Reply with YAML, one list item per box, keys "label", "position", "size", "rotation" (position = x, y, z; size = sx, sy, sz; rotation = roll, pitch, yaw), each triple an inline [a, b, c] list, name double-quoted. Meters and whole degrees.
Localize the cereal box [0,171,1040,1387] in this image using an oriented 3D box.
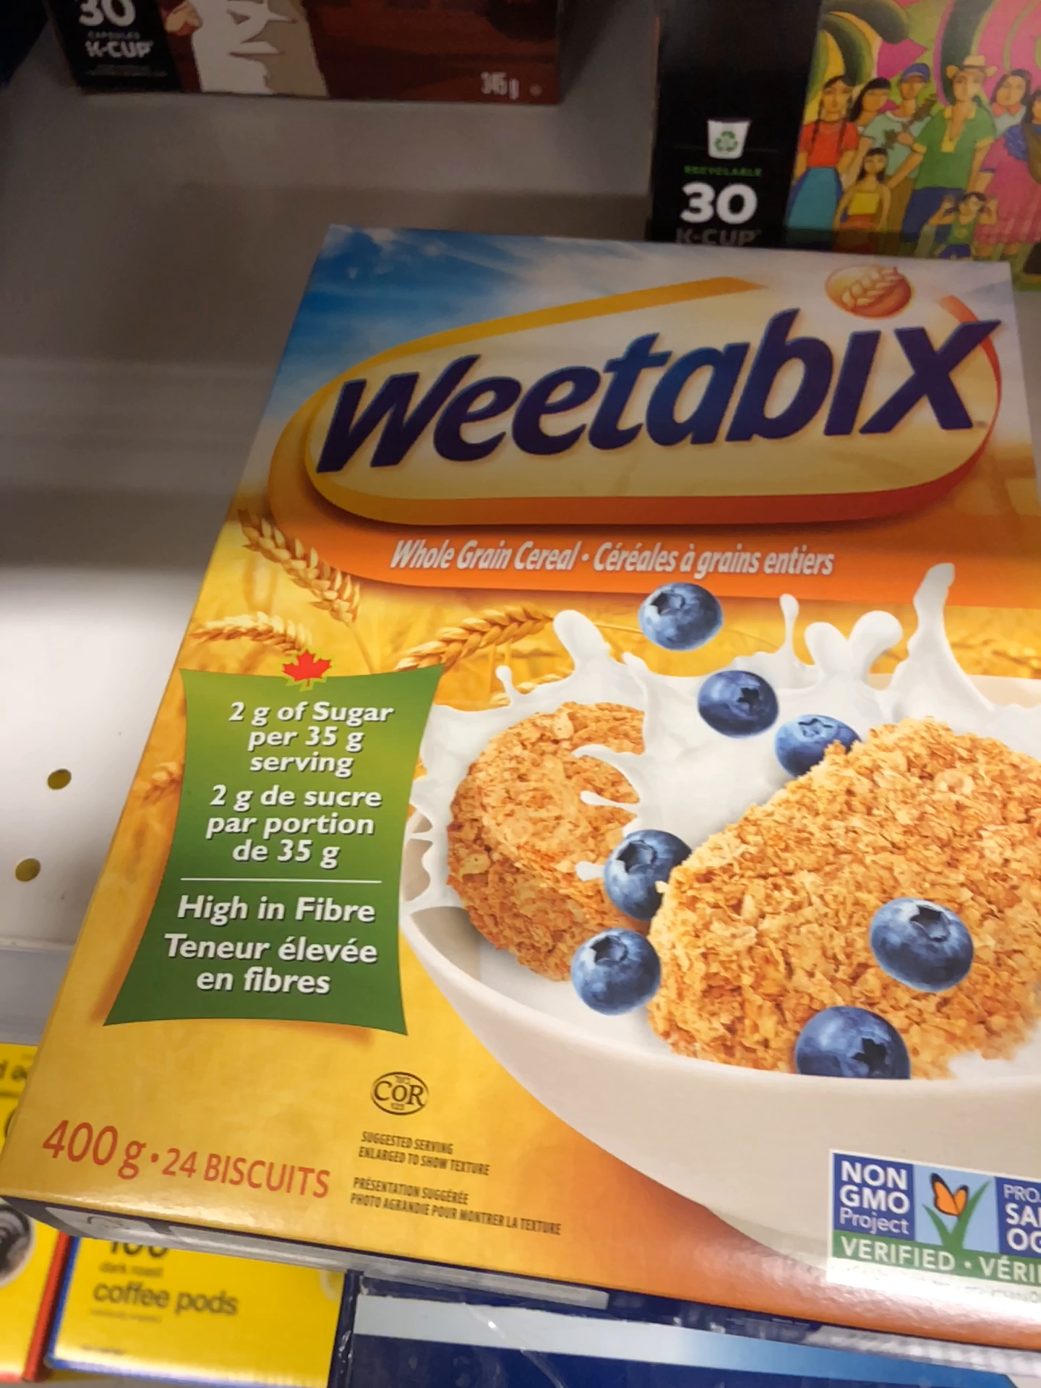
- label: "cereal box"
  position: [0.019, -0.013, 0.278]
  size: [0.210, 0.050, 0.290]
  rotation: [6, 57, 6]
